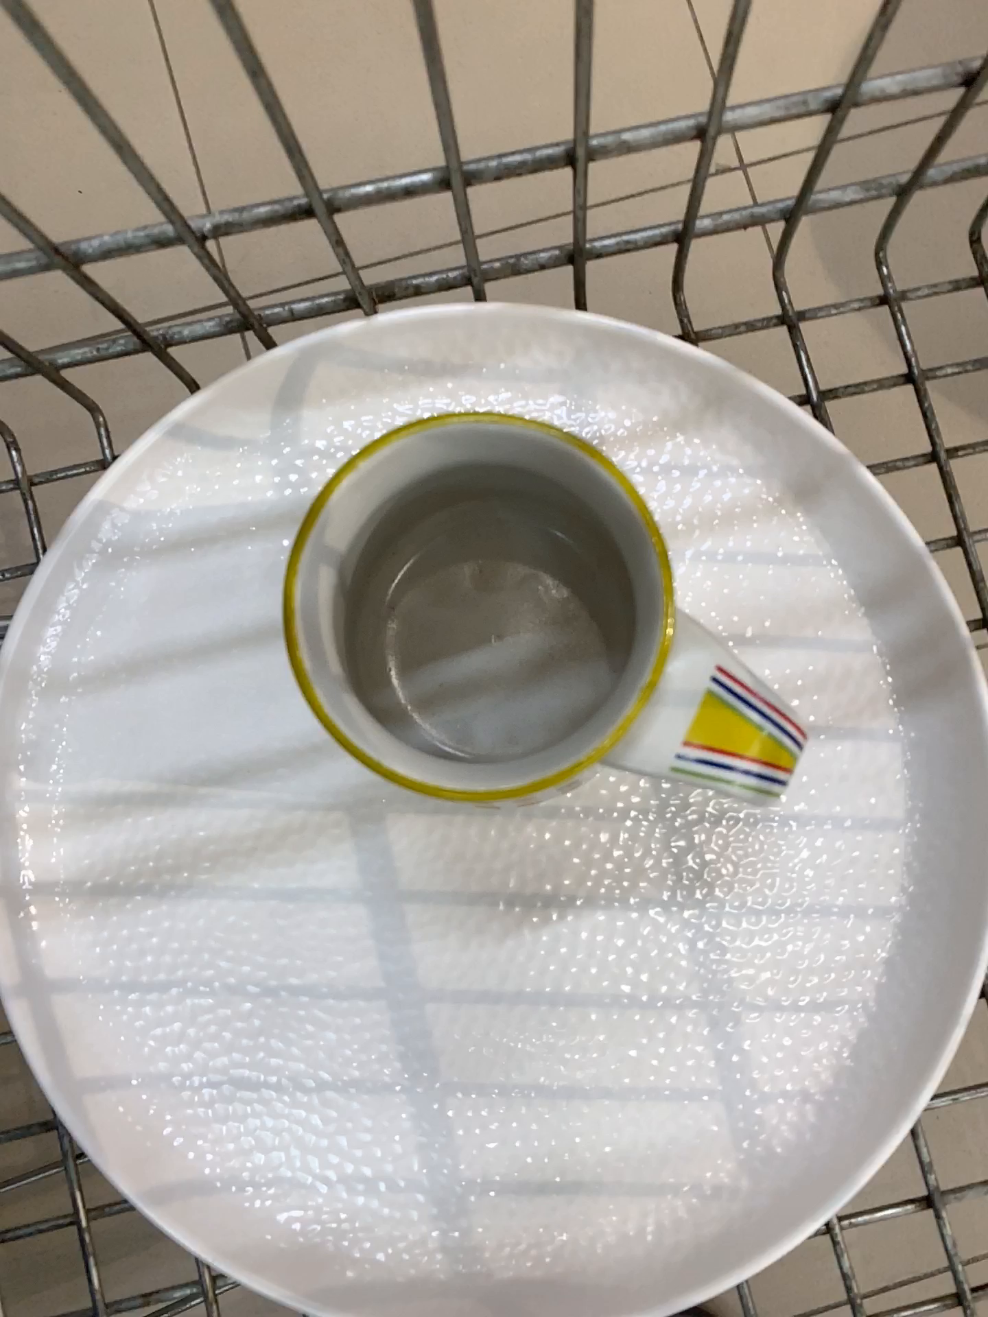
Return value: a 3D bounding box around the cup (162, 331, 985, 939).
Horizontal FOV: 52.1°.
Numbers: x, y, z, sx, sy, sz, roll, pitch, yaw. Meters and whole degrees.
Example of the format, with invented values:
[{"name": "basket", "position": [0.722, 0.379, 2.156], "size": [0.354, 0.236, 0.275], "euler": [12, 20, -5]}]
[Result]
[{"name": "cup", "position": [0.014, 0.000, 0.209], "size": [0.120, 0.100, 0.080], "euler": [8, 84, 0]}]
